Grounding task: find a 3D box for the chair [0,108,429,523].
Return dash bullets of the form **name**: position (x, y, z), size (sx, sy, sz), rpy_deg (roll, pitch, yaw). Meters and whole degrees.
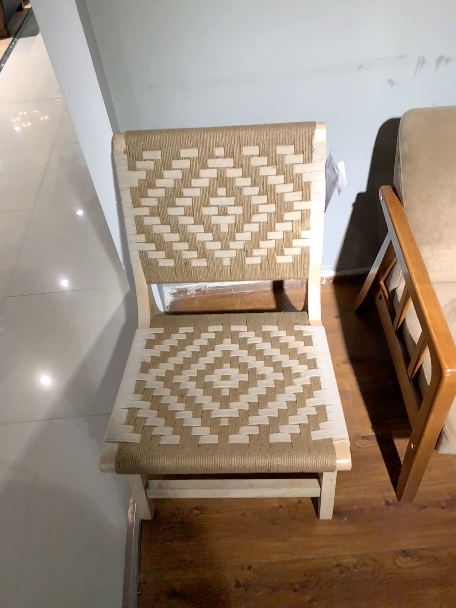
- **chair**: position (-0.005, 0.087, 1.190), size (0.630, 0.848, 0.662), rpy_deg (-2, 49, 4)
